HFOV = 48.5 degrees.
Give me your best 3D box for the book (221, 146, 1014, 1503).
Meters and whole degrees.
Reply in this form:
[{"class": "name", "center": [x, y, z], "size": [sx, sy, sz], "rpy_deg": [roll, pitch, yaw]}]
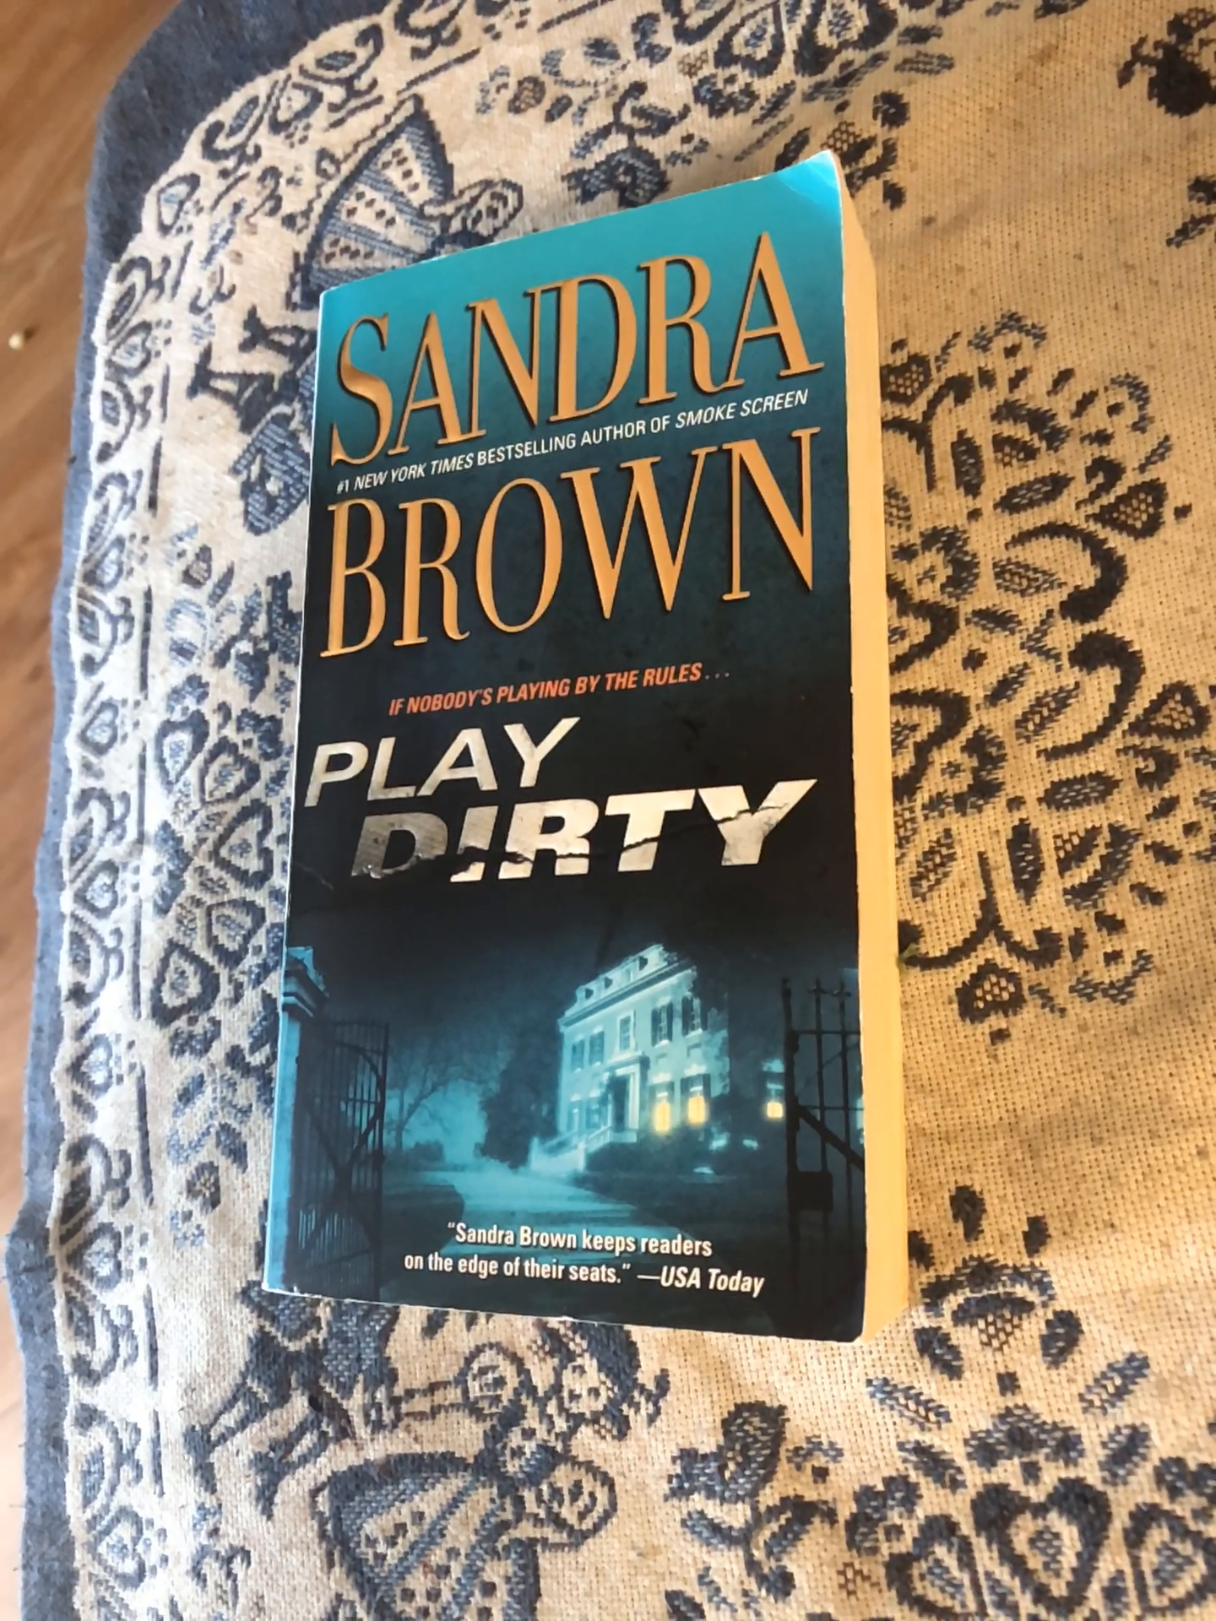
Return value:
[{"class": "book", "center": [0.000, 0.001, 0.216], "size": [0.110, 0.040, 0.180], "rpy_deg": [-5, 78, 23]}]
